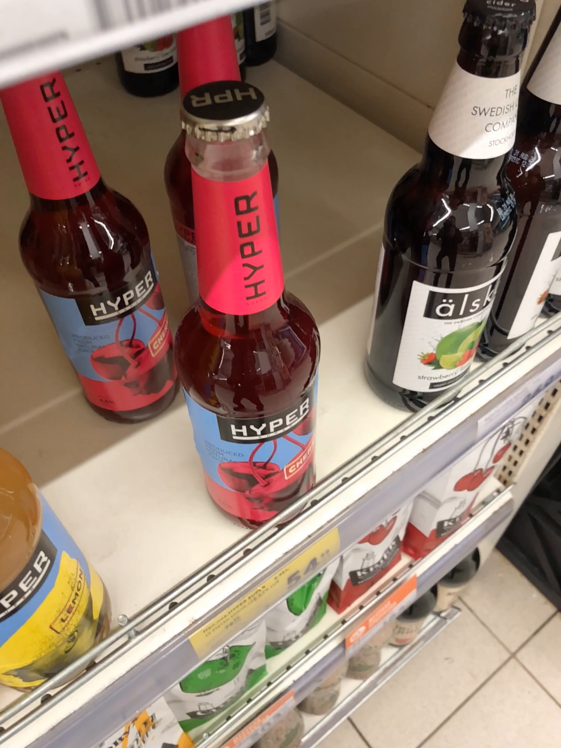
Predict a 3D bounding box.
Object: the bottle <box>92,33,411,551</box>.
[{"bbox_3d":[-0.009,-0.011,0.294,0.080,0.243,0.070,-22,55,-14],"label":"bottle"}]
